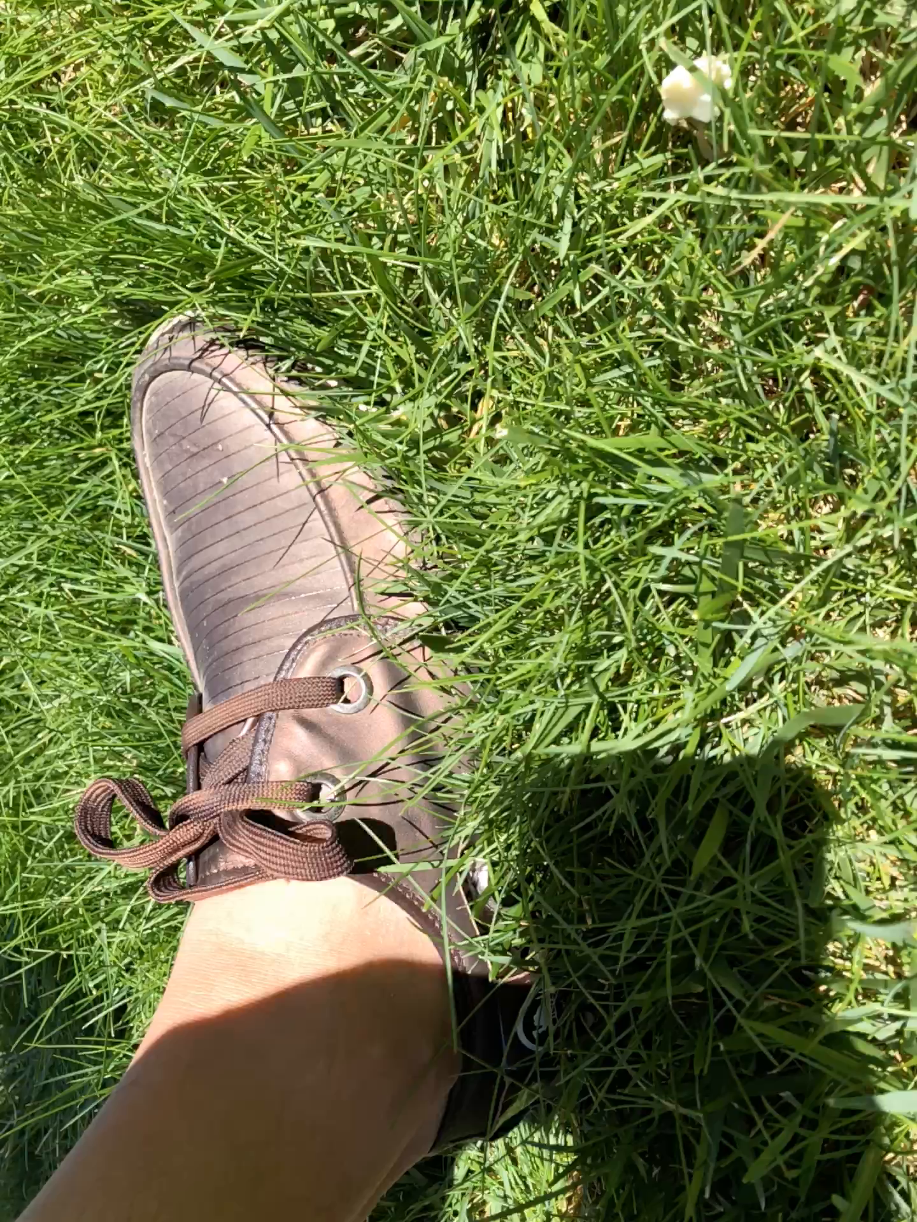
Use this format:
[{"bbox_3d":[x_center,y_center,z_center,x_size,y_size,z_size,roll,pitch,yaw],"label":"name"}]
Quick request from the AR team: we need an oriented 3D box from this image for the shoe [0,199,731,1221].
[{"bbox_3d":[-0.038,0.038,0.324,0.110,0.107,0.293,-22,89,43],"label":"shoe"}]
